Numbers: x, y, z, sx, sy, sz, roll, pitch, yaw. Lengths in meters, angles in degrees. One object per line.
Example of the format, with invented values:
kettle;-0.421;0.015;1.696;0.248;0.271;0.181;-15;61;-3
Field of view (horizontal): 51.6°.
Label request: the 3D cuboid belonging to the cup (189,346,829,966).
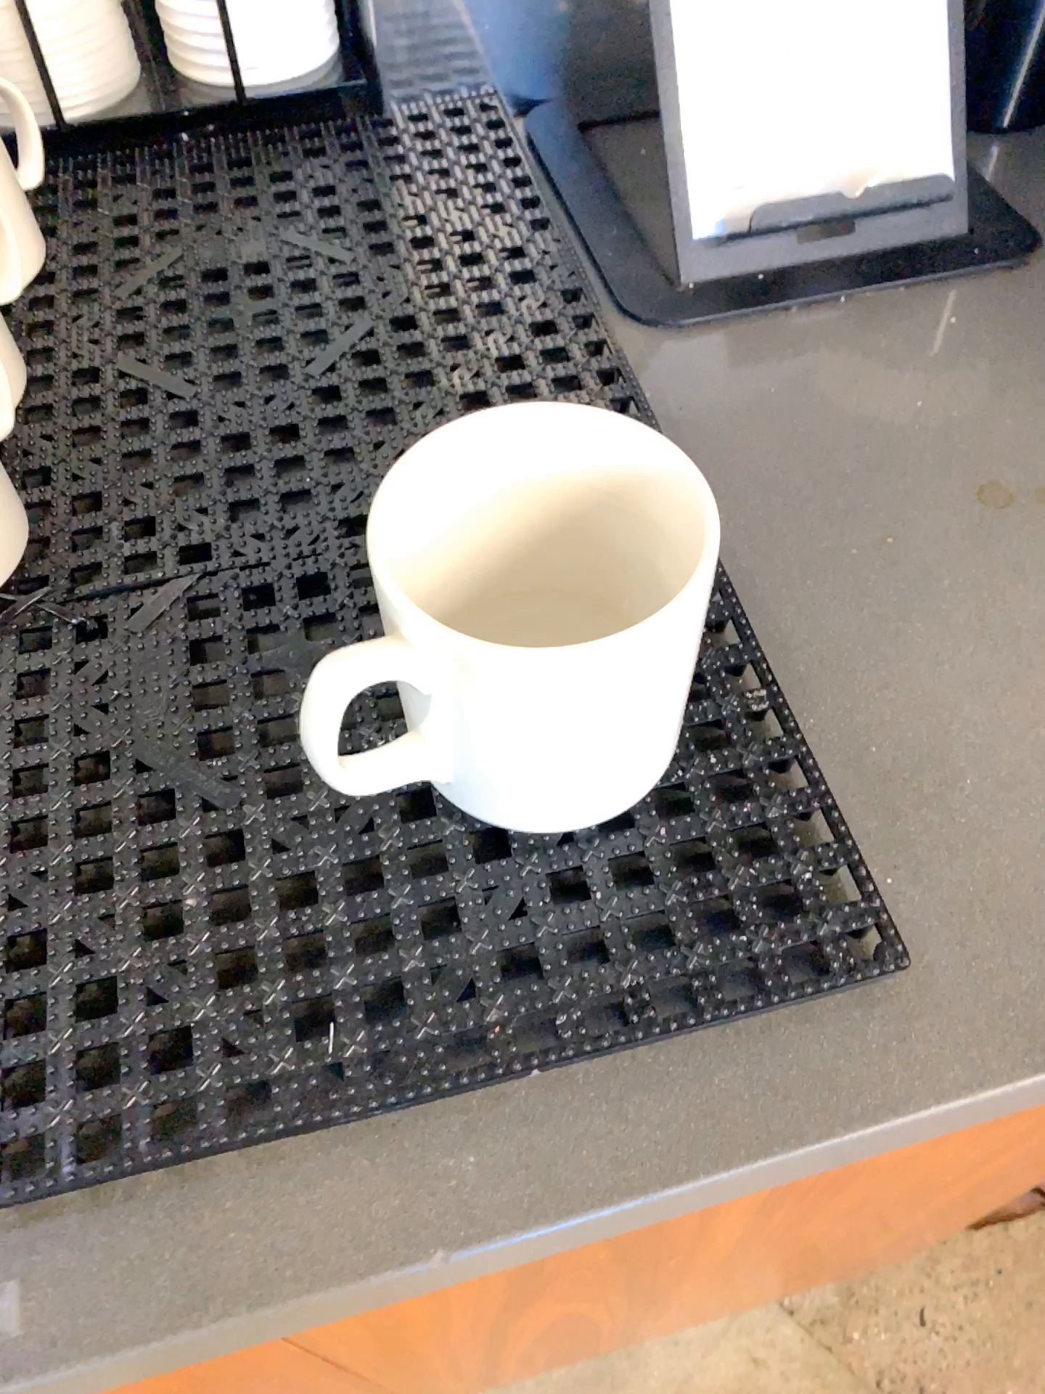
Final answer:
cup;-0.003;-0.013;0.286;0.120;0.080;0.090;-32;60;-19
